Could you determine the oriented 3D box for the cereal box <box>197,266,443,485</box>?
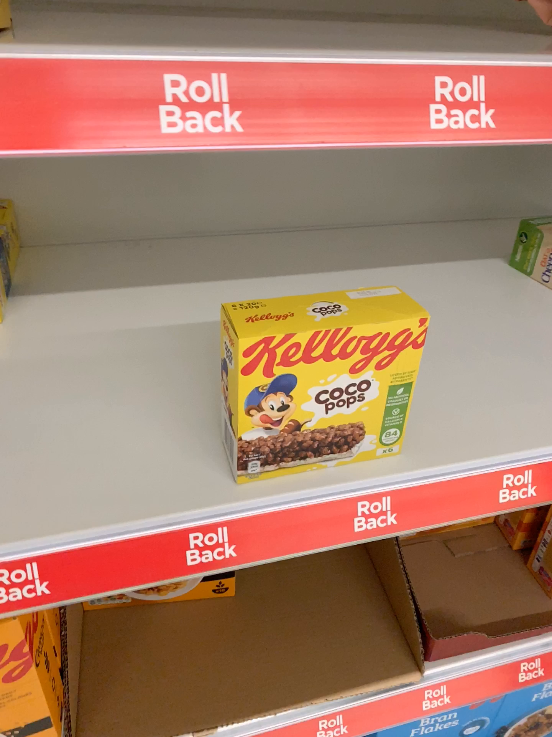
[{"bbox_3d":[0.026,0.003,0.404,0.150,0.119,0.060,-9,35,-17],"label":"cereal box"}]
